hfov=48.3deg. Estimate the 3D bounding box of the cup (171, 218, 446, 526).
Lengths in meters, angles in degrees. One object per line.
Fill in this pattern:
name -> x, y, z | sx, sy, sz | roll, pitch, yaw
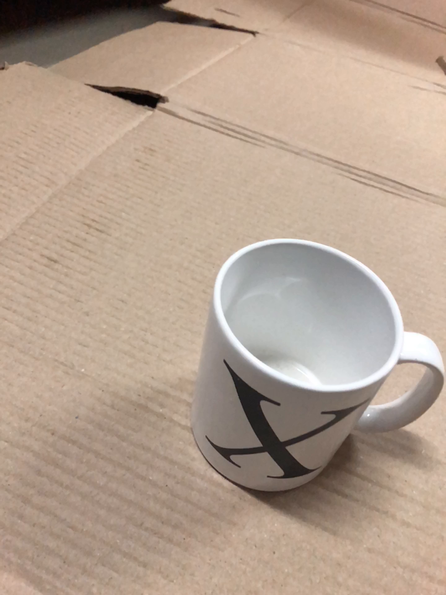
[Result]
cup -> 0.041, 0.034, 0.219 | 0.110, 0.089, 0.081 | 9, 43, -3
